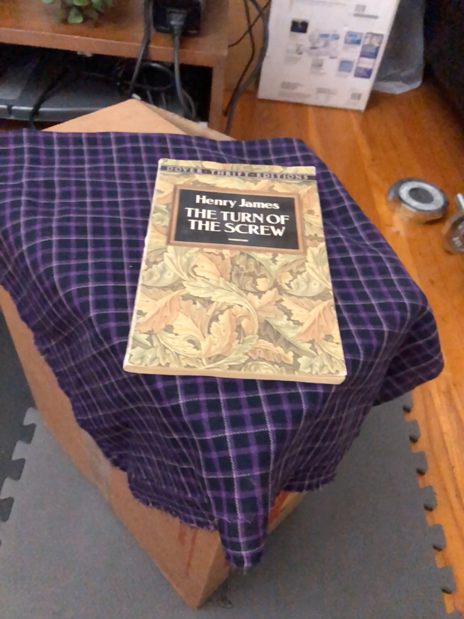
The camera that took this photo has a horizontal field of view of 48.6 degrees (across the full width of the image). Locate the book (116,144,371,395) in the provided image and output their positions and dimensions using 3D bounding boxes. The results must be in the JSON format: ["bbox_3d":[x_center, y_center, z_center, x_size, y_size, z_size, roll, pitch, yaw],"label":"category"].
[{"bbox_3d":[0.007,-0.043,0.355,0.140,0.010,0.221,4,49,-5],"label":"book"}]
